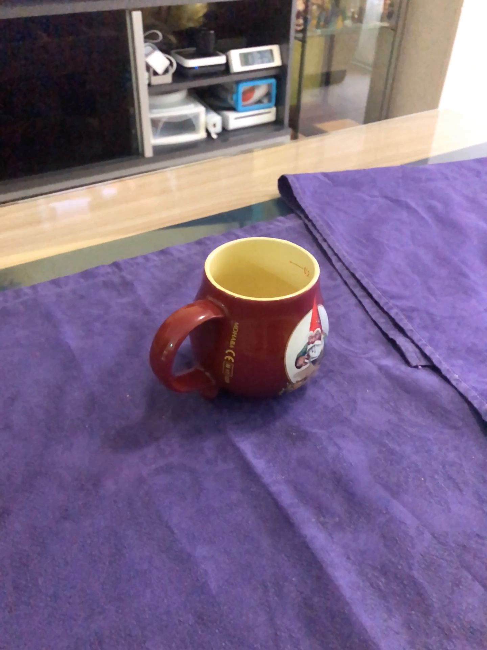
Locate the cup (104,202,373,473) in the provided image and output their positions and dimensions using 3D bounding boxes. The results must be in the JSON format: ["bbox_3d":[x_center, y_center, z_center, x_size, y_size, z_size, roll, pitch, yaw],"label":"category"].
[{"bbox_3d":[-0.001,0.001,0.317,0.120,0.090,0.080,-28,47,-31],"label":"cup"}]
